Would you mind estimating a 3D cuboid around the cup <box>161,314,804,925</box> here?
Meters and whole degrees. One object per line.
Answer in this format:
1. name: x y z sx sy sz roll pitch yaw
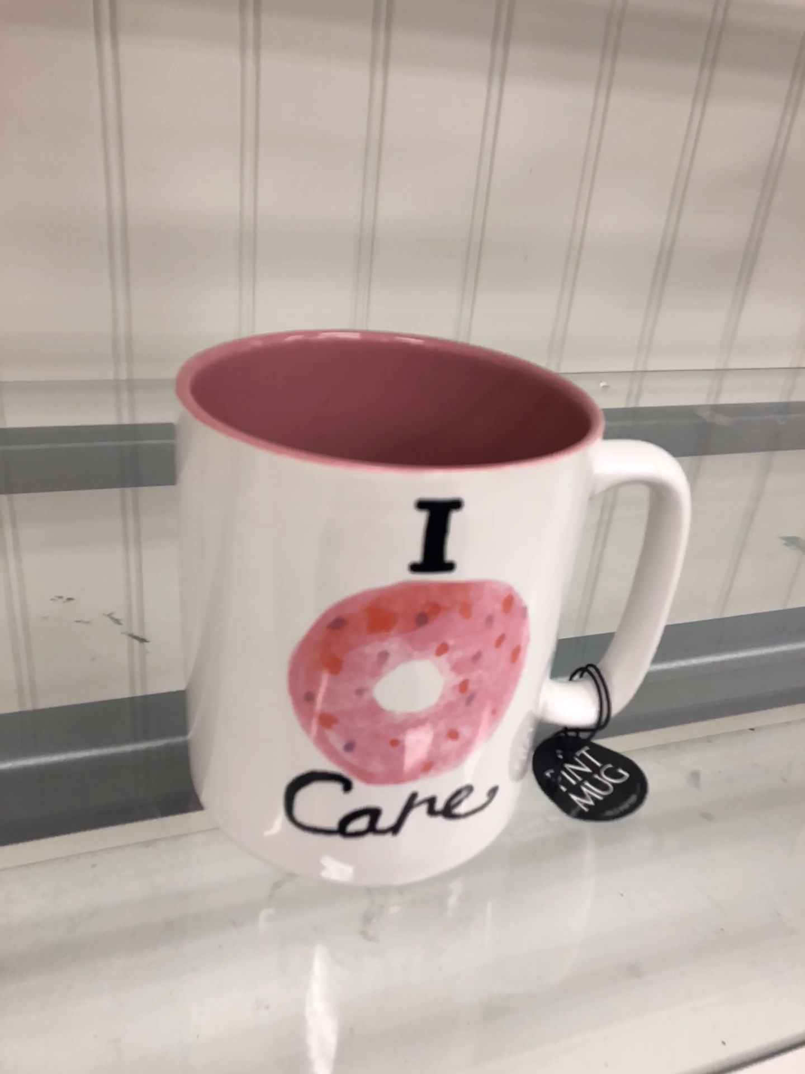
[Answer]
1. cup: 0.012 0.014 0.234 0.137 0.112 0.101 0 28 -12
